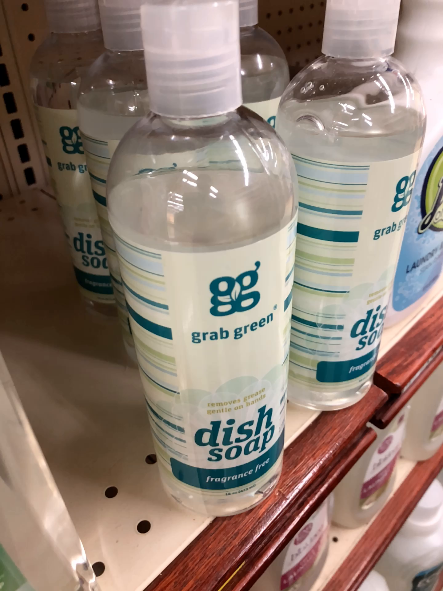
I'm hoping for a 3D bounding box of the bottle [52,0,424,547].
[{"bbox_3d":[0.001,0.001,0.181,0.070,0.200,0.060,-17,40,-19],"label":"bottle"}]
